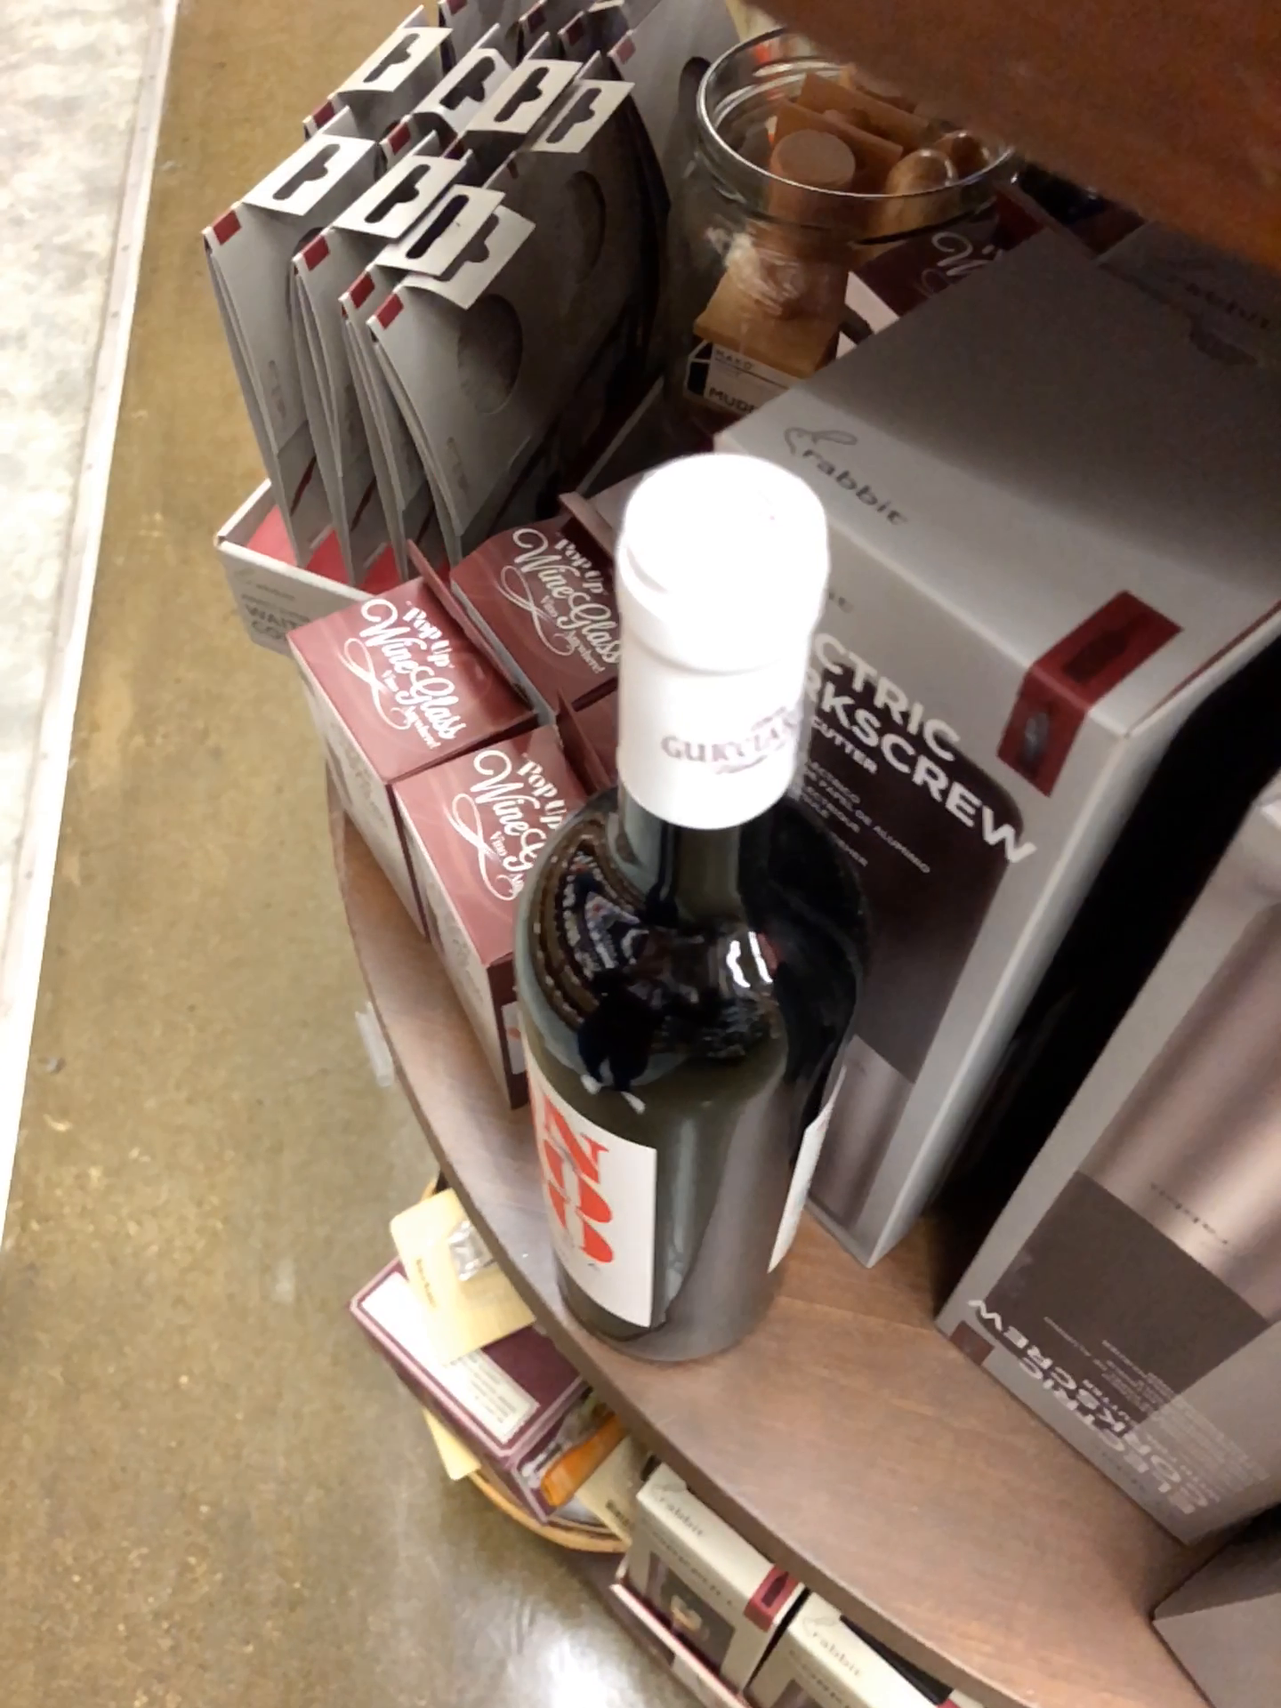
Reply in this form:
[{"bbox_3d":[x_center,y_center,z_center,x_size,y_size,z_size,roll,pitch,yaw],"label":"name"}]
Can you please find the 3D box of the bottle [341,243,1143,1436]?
[{"bbox_3d":[0.011,0.038,0.313,0.080,0.309,0.083,0,55,1],"label":"bottle"}]
